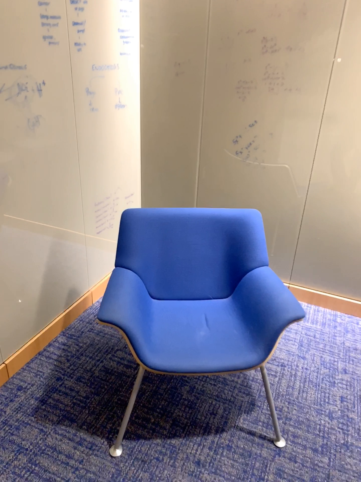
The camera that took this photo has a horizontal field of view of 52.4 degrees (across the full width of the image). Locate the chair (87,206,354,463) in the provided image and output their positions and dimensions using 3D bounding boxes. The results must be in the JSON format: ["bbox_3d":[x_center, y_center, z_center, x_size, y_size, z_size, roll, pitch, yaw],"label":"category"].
[{"bbox_3d":[0.084,0.322,1.553,0.788,0.713,0.744,0,26,-5],"label":"chair"}]
